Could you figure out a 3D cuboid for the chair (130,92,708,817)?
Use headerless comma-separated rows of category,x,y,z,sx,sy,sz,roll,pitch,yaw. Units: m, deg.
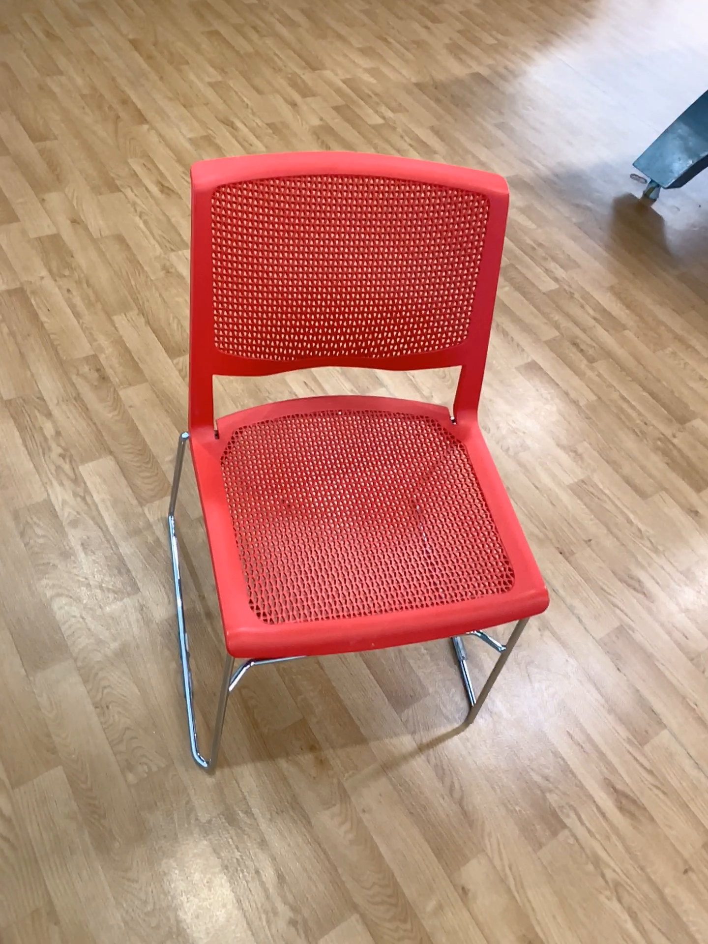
chair,0.045,0.005,0.987,0.601,0.705,0.594,-5,54,-17
